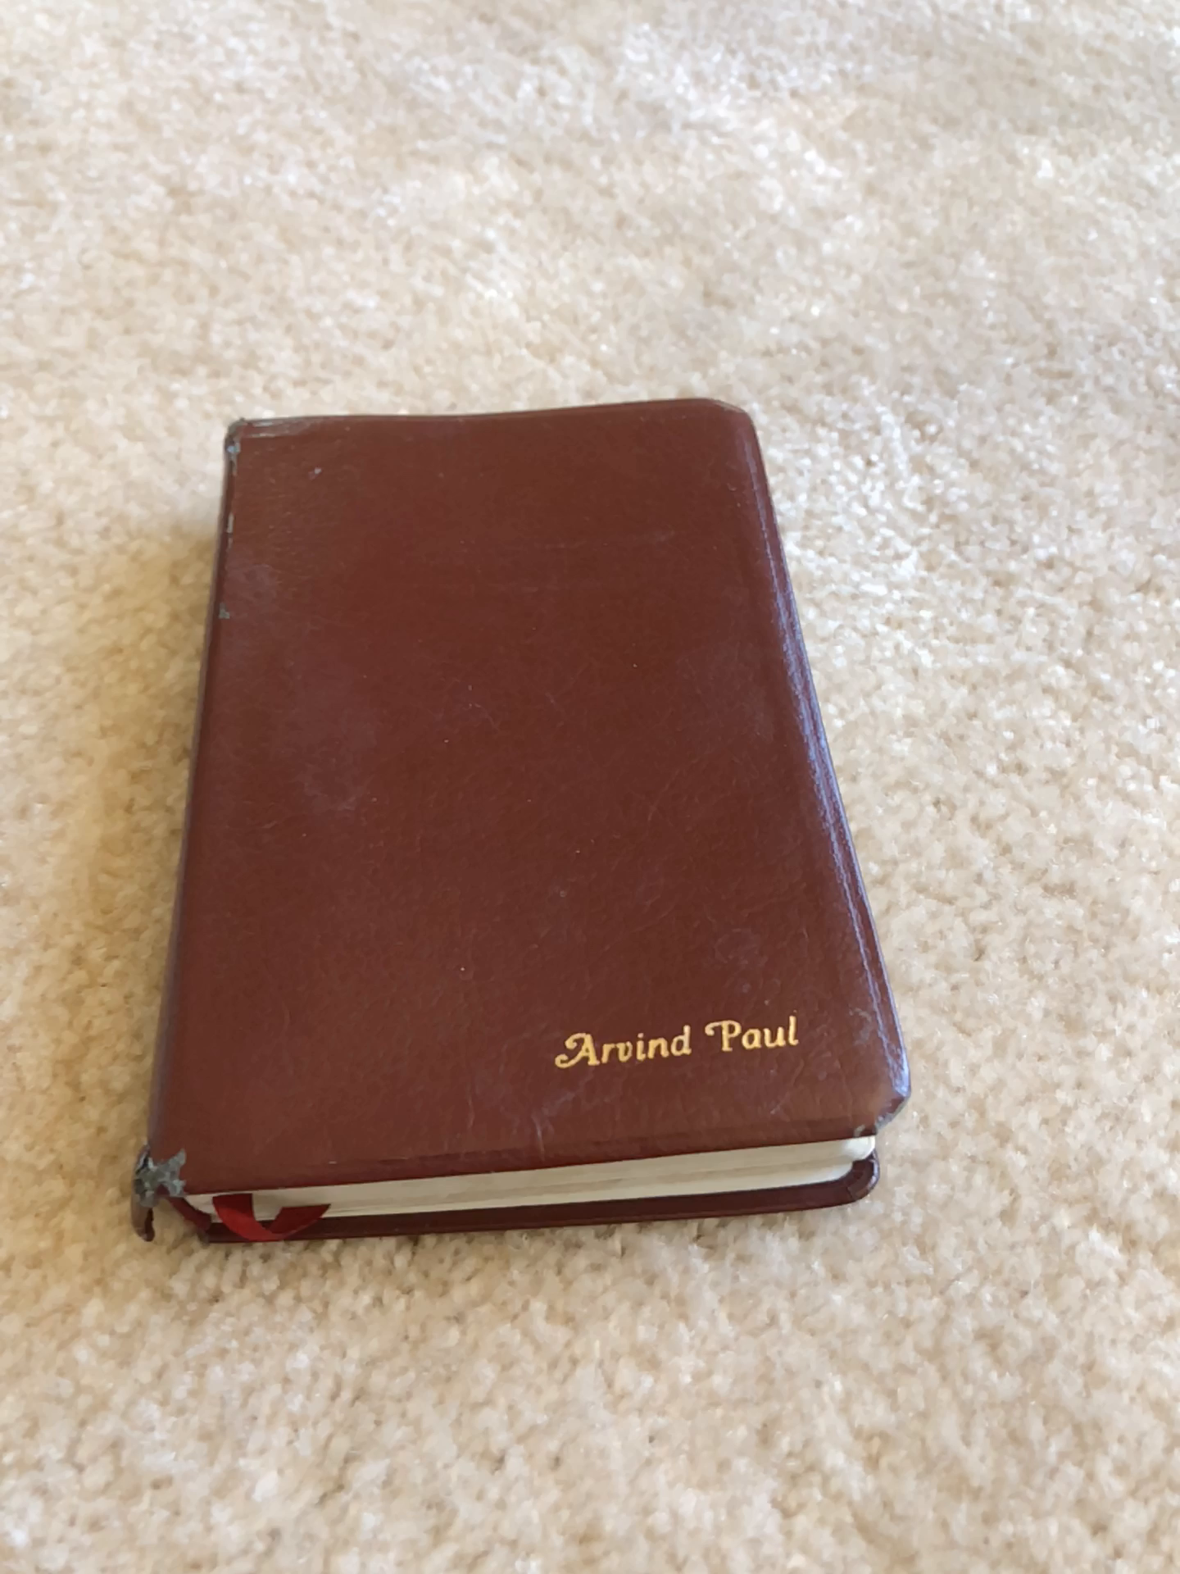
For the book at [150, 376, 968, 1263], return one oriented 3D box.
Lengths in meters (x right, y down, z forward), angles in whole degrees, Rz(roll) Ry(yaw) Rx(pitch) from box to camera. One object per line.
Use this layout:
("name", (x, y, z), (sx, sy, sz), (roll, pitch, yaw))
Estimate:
("book", (-0.010, -0.005, 0.238), (0.110, 0.040, 0.157), (-4, 55, -3))
